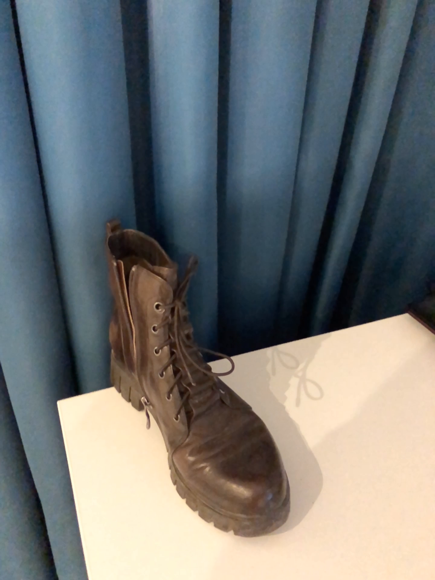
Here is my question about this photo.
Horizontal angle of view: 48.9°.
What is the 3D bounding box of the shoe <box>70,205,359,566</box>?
[{"bbox_3d":[-0.025,0.056,0.428,0.100,0.169,0.271,-18,36,-29],"label":"shoe"}]
